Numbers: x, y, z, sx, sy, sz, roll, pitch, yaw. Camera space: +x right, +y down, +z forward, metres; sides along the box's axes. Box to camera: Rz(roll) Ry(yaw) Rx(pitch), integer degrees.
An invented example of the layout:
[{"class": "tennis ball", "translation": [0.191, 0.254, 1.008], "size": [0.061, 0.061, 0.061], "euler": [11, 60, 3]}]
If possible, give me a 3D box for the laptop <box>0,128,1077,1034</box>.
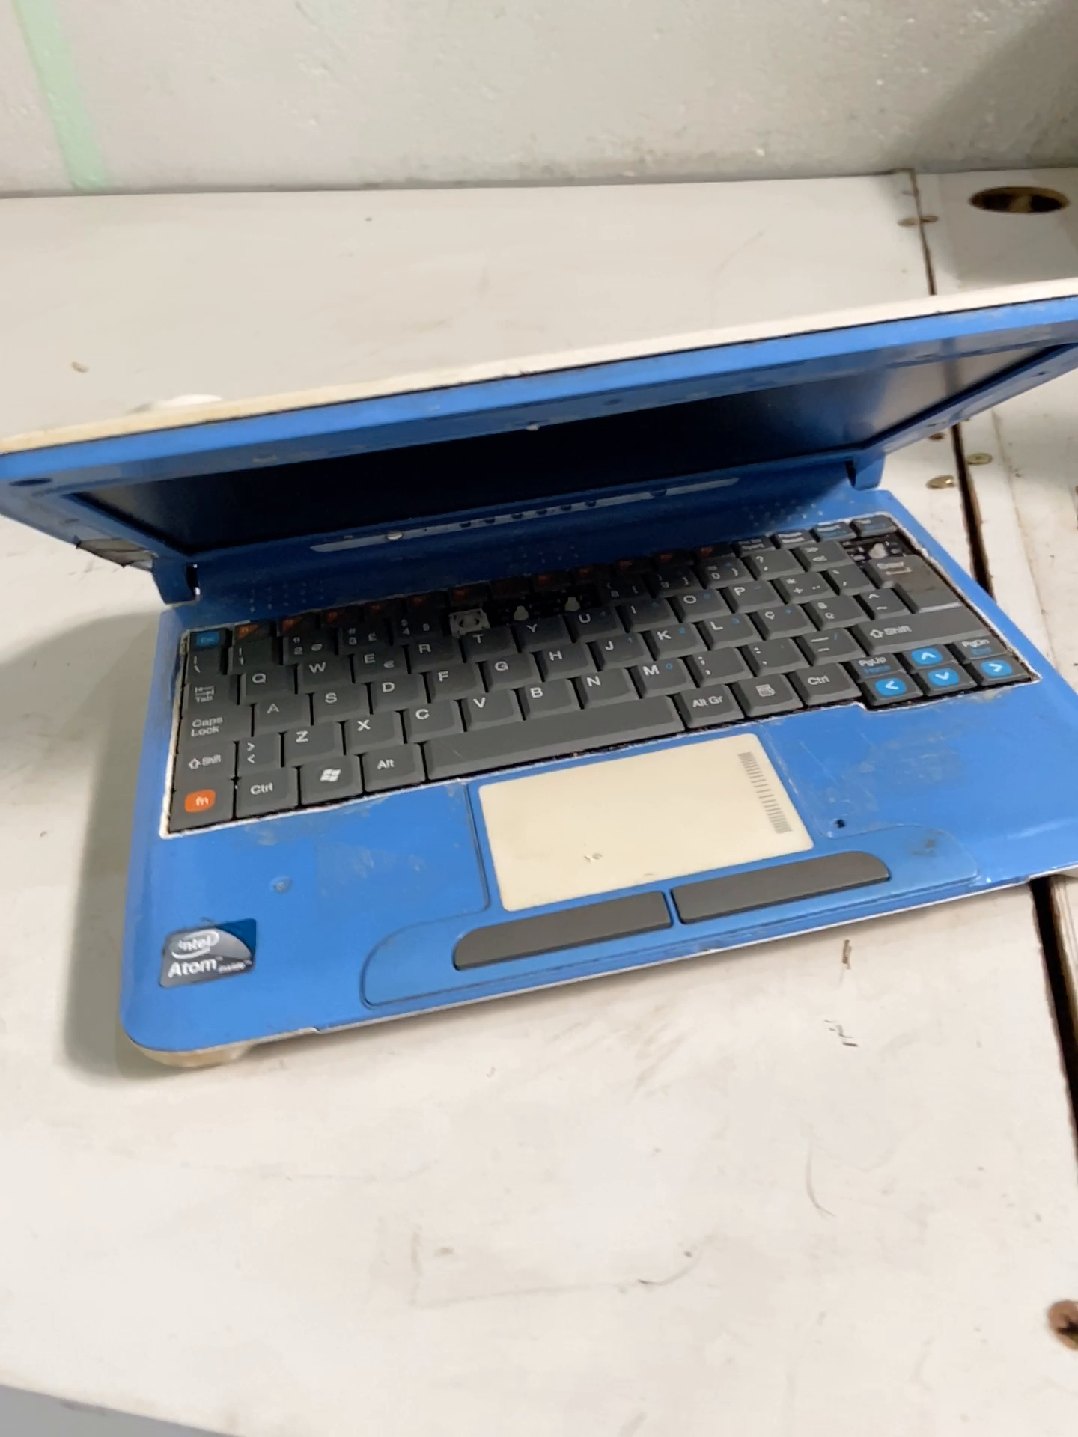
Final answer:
[{"class": "laptop", "translation": [0.008, -0.052, 0.286], "size": [0.247, 0.116, 0.183], "euler": [-10, 39, -4]}]
